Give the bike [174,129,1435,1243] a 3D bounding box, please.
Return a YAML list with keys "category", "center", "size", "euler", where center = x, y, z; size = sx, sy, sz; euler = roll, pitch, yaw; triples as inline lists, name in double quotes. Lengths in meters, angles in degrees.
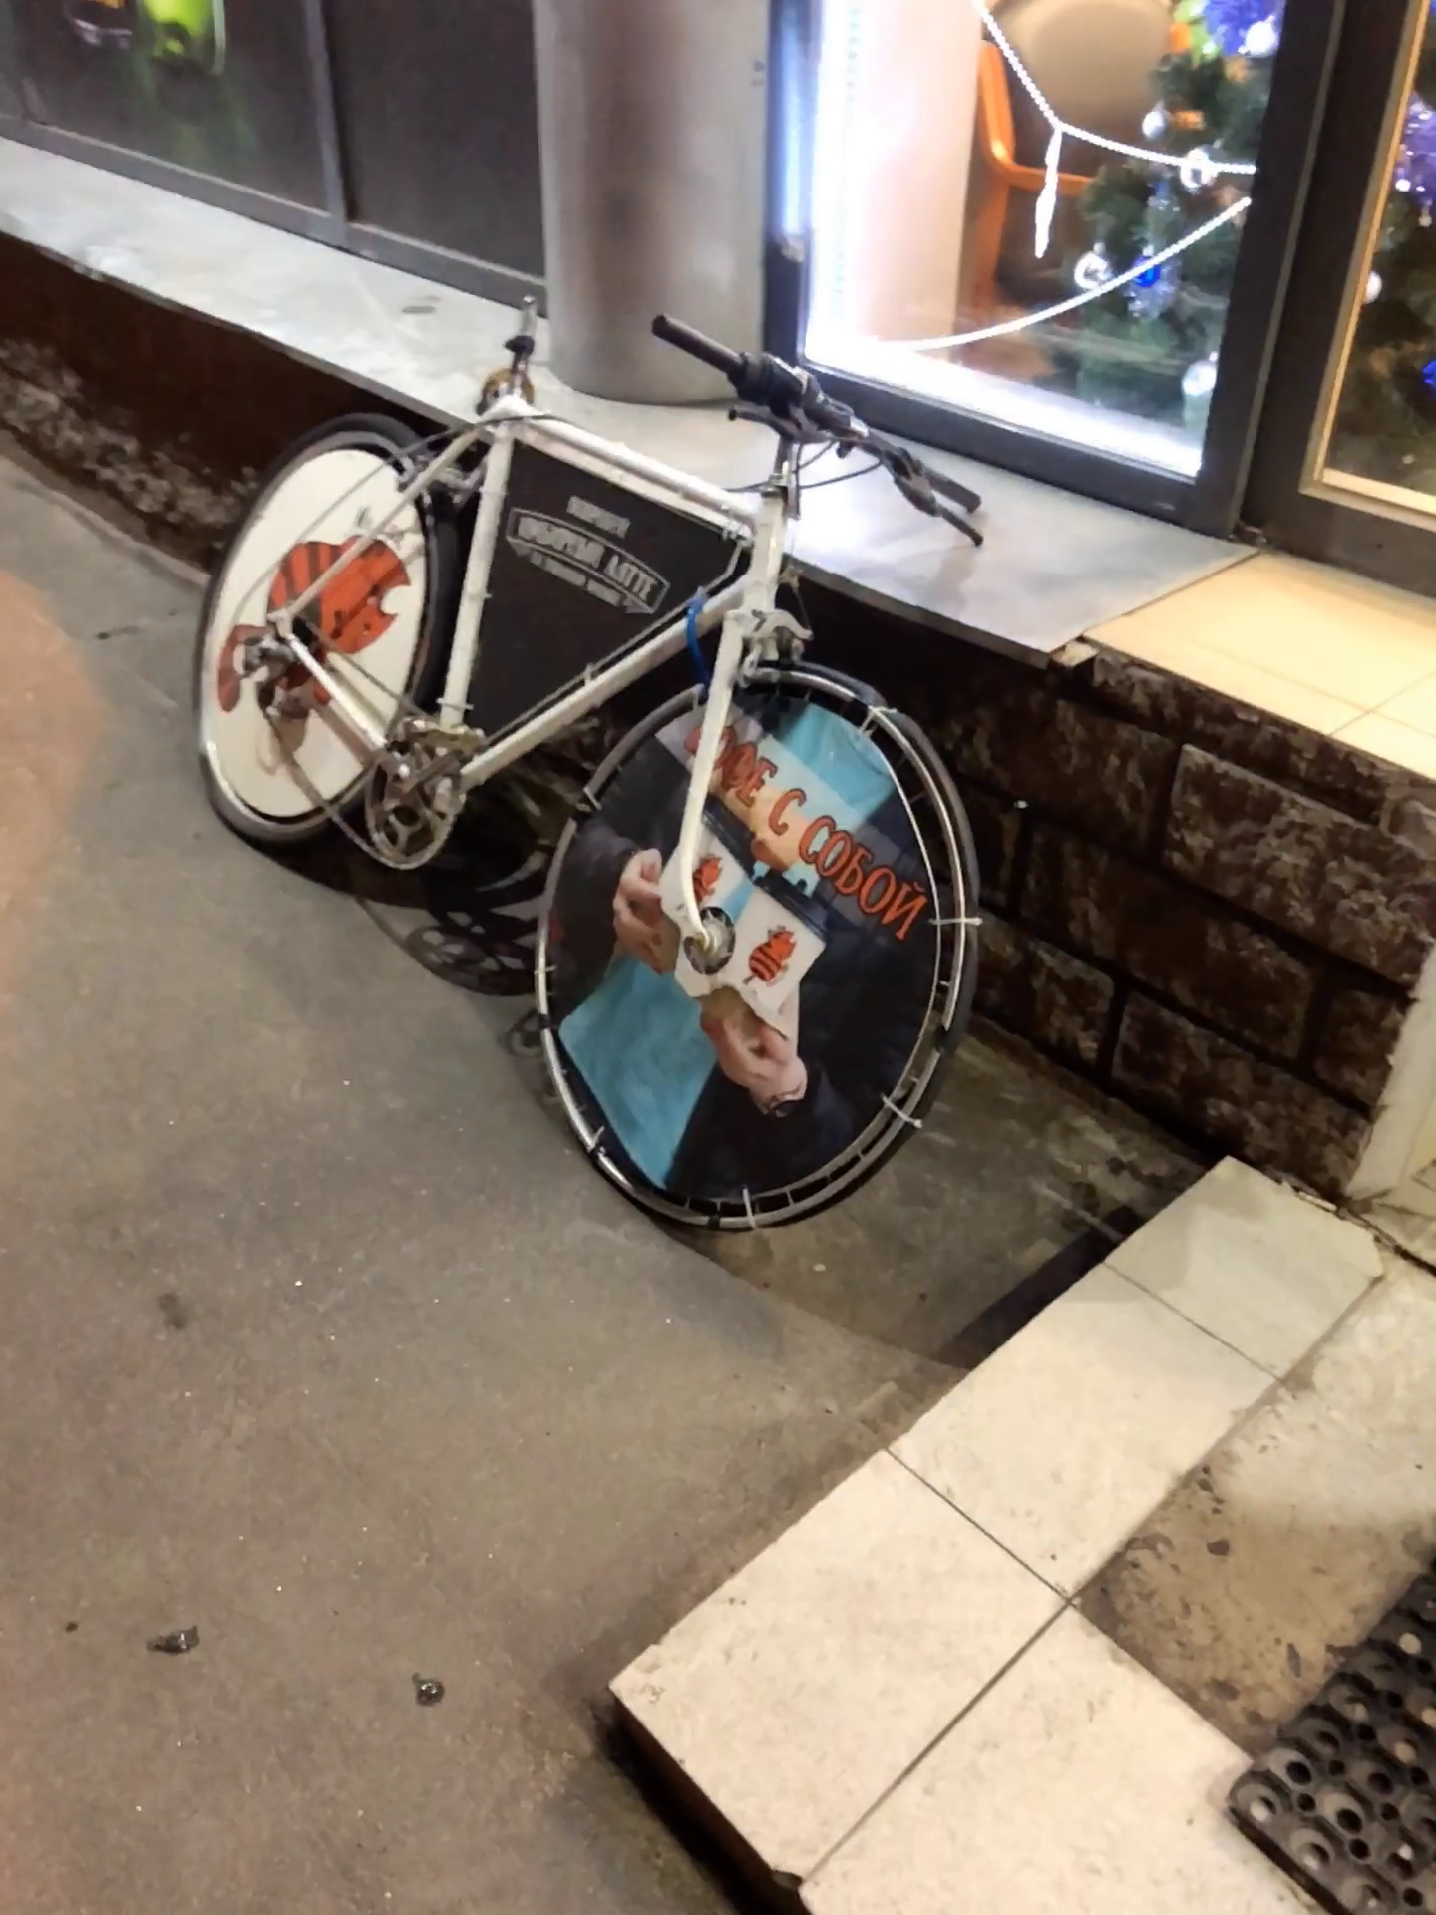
- category: "bike"
  center: [-0.024, -0.497, 2.106]
  size: [0.570, 0.917, 1.590]
  euler: [-25, 42, -32]
